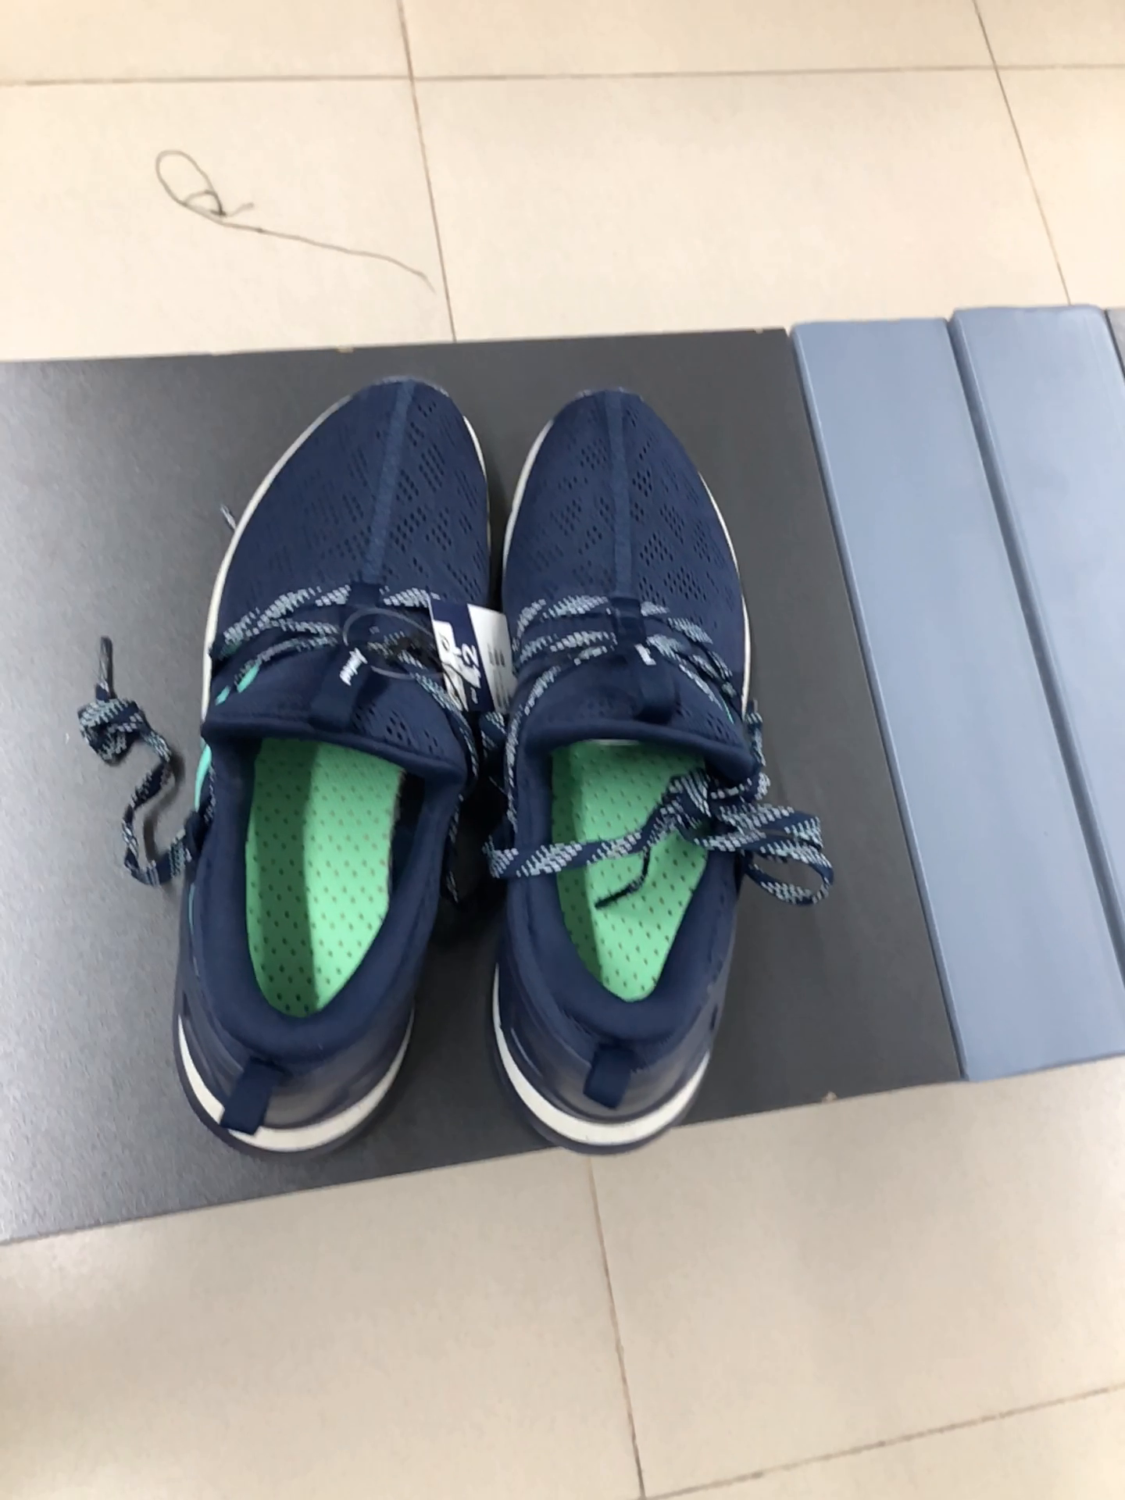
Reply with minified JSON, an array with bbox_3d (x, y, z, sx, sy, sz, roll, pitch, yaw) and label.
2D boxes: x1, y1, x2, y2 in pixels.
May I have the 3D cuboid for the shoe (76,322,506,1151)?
[{"bbox_3d":[-0.082,0.003,0.425,0.100,0.120,0.251,5,72,-7],"label":"shoe"}]

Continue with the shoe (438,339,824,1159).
[{"bbox_3d":[0.019,0.007,0.430,0.100,0.120,0.251,5,72,-7],"label":"shoe"}]
